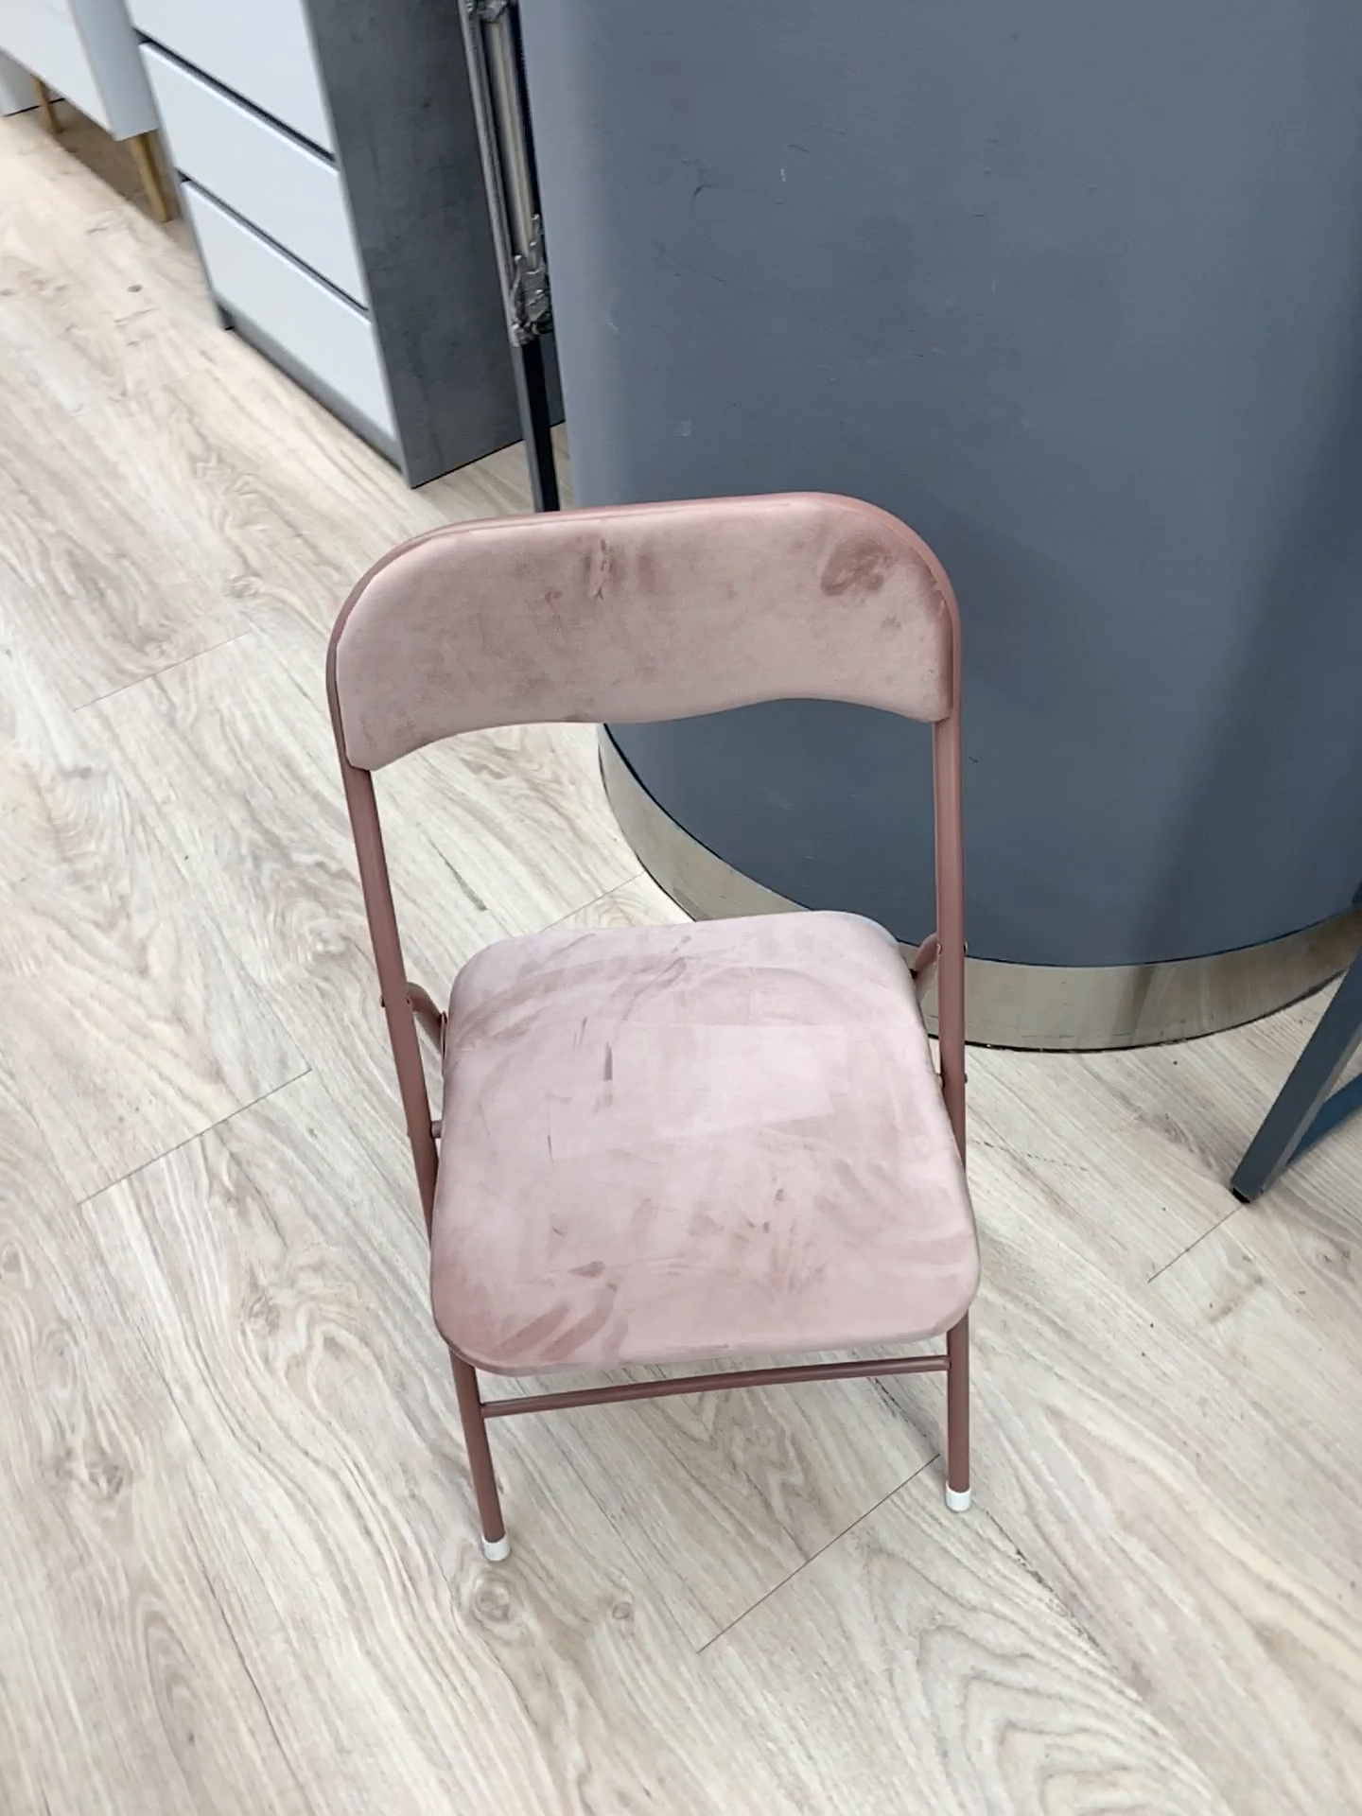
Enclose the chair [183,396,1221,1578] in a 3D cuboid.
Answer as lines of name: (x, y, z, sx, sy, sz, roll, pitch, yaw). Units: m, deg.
chair: (-0.003, 0.123, 1.069, 0.460, 0.797, 0.482, -7, 51, -3)
